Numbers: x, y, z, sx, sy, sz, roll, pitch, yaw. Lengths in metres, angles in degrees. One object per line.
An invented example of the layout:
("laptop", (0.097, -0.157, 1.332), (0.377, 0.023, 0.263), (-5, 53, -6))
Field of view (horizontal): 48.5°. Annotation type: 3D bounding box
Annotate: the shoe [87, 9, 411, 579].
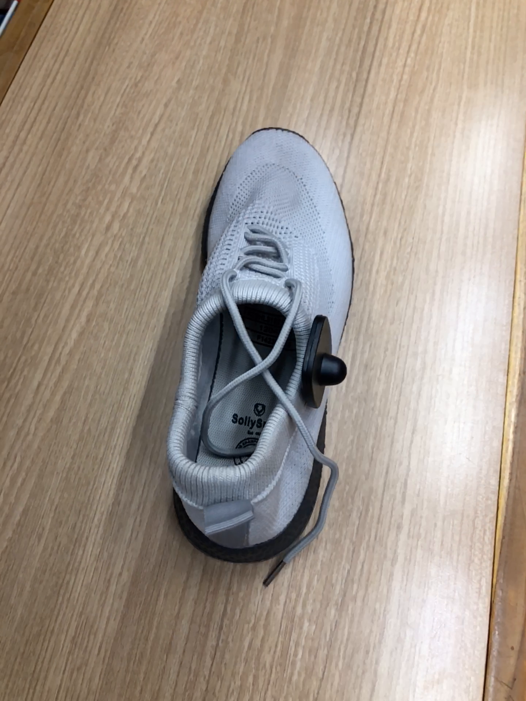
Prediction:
("shoe", (0.005, -0.027, 0.312), (0.106, 0.122, 0.265), (7, 69, 1))
